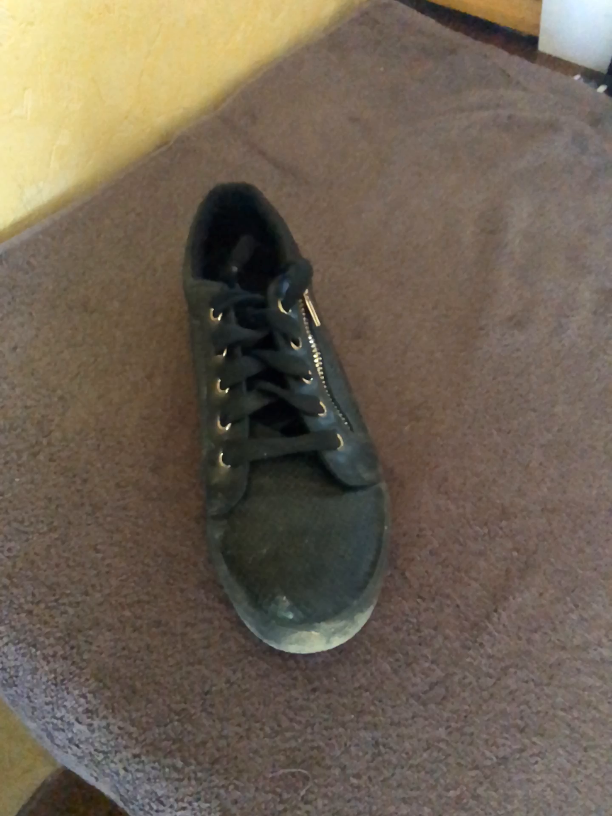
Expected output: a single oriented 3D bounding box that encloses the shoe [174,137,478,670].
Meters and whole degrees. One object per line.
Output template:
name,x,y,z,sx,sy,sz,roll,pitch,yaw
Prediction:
shoe,-0.007,-0.020,0.359,0.100,0.090,0.271,-7,55,-6
